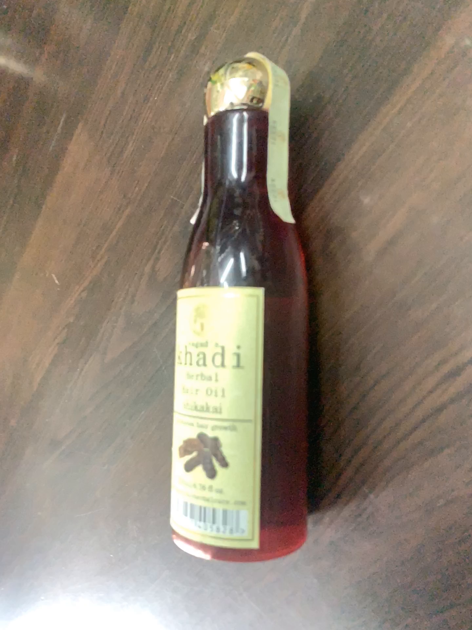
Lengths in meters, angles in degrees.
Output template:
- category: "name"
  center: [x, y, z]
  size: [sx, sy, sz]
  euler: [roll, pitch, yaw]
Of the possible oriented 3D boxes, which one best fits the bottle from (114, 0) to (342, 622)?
- category: "bottle"
  center: [-0.001, -0.003, 0.167]
  size: [0.050, 0.050, 0.170]
  euler: [-1, 85, 41]
